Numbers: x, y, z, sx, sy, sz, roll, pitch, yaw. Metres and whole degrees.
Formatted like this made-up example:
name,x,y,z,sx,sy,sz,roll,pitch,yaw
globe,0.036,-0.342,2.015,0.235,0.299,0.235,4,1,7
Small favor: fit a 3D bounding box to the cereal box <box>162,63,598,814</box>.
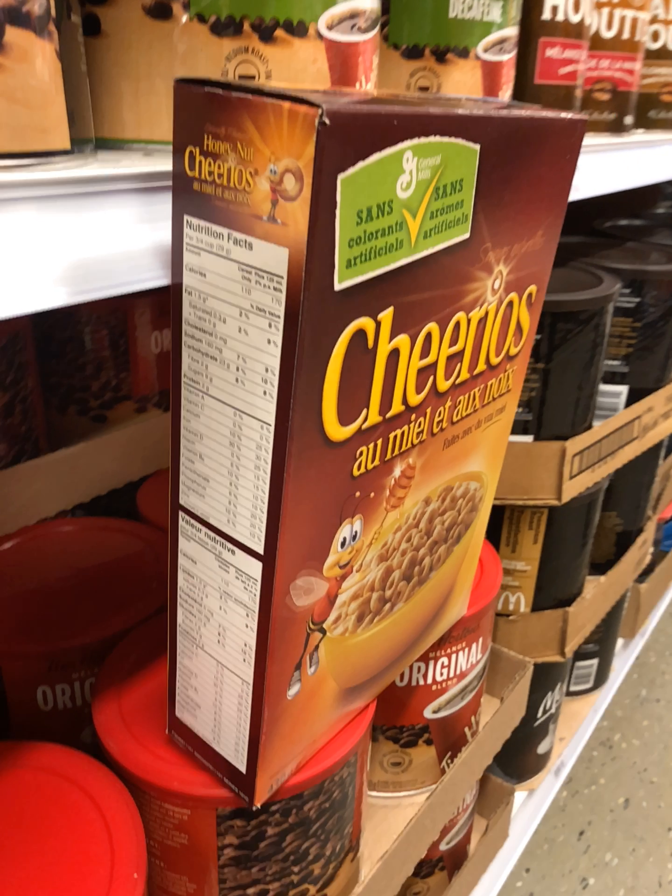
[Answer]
name,x,y,z,sx,sy,sz,roll,pitch,yaw
cereal box,0.018,-0.009,0.350,0.060,0.289,0.200,25,32,31
